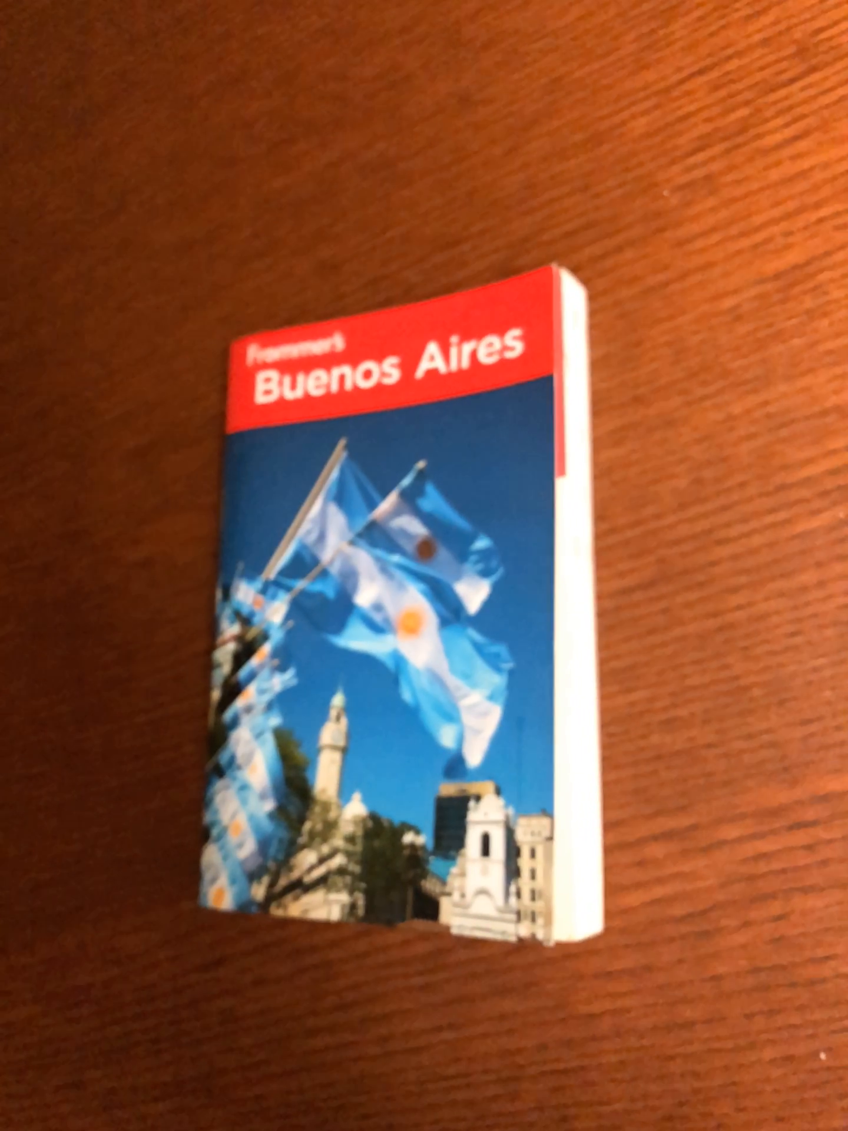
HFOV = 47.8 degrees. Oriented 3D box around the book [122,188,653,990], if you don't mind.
[{"bbox_3d":[-0.019,0.006,0.299,0.160,0.020,0.220,-7,75,25],"label":"book"}]
